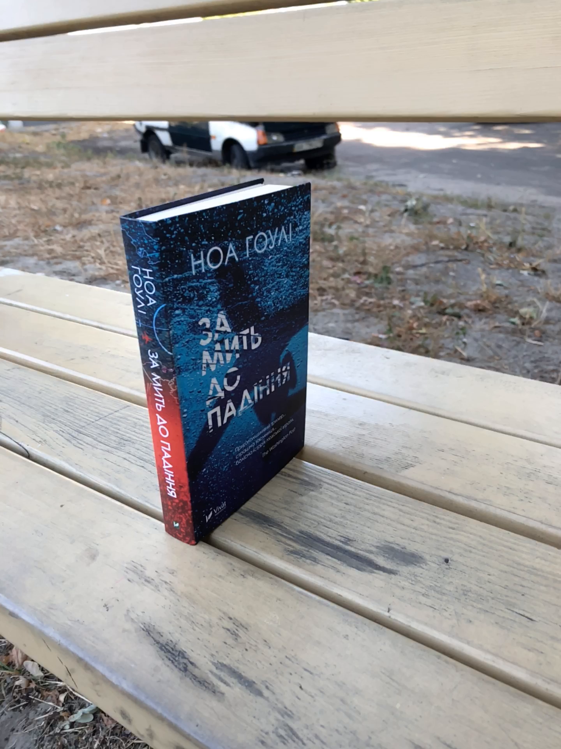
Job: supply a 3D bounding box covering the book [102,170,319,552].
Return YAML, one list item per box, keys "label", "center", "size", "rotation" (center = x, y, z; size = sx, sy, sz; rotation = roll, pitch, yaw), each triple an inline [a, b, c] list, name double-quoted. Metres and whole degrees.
- label: "book"
  center: [-0.030, -0.014, 0.390]
  size: [0.040, 0.199, 0.141]
  rotation: [16, 32, 31]
